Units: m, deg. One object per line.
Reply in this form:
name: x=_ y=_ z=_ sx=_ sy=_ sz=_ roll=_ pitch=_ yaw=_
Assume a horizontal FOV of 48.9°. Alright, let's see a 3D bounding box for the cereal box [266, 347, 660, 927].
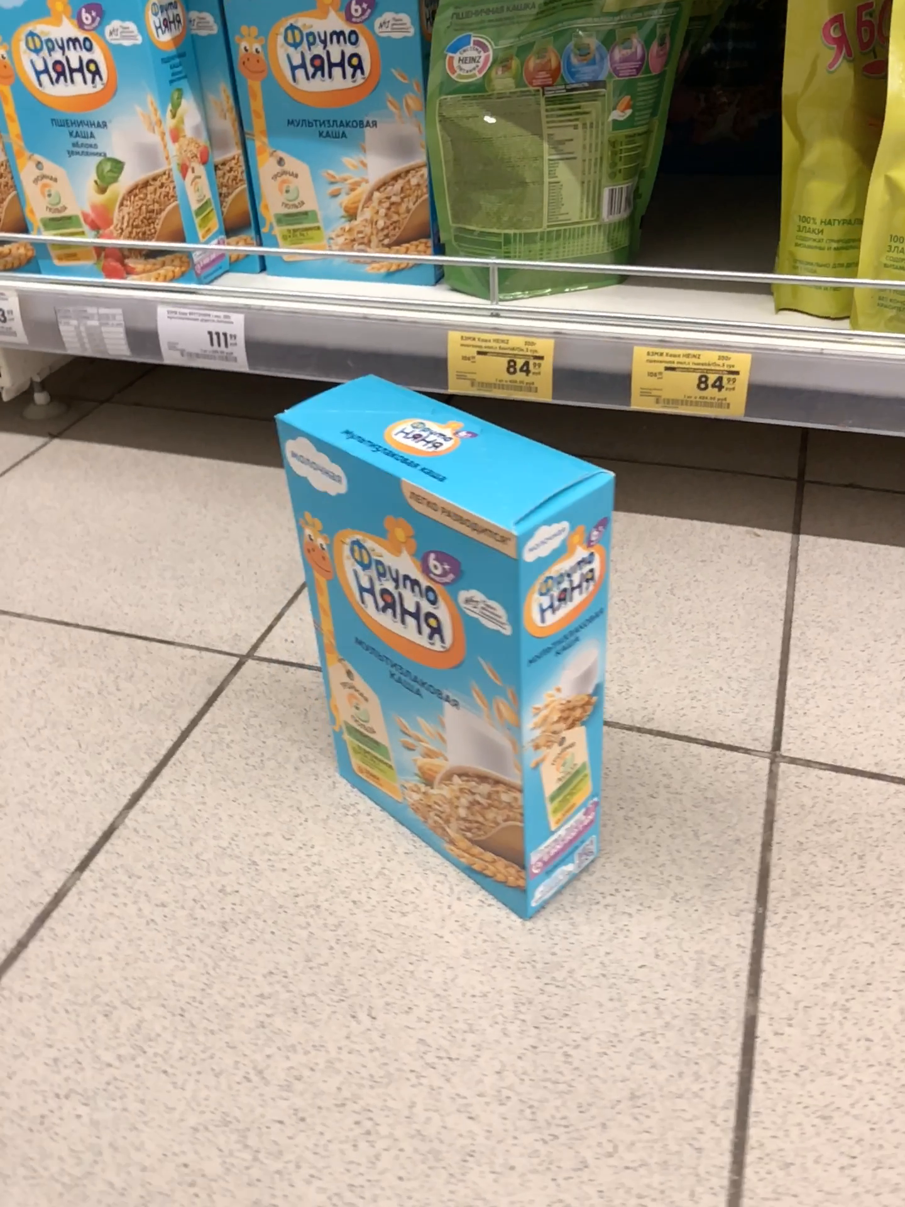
cereal box: x=0.005 y=0.014 z=0.416 sx=0.060 sy=0.199 sz=0.140 roll=-32 pitch=45 yaw=-32
